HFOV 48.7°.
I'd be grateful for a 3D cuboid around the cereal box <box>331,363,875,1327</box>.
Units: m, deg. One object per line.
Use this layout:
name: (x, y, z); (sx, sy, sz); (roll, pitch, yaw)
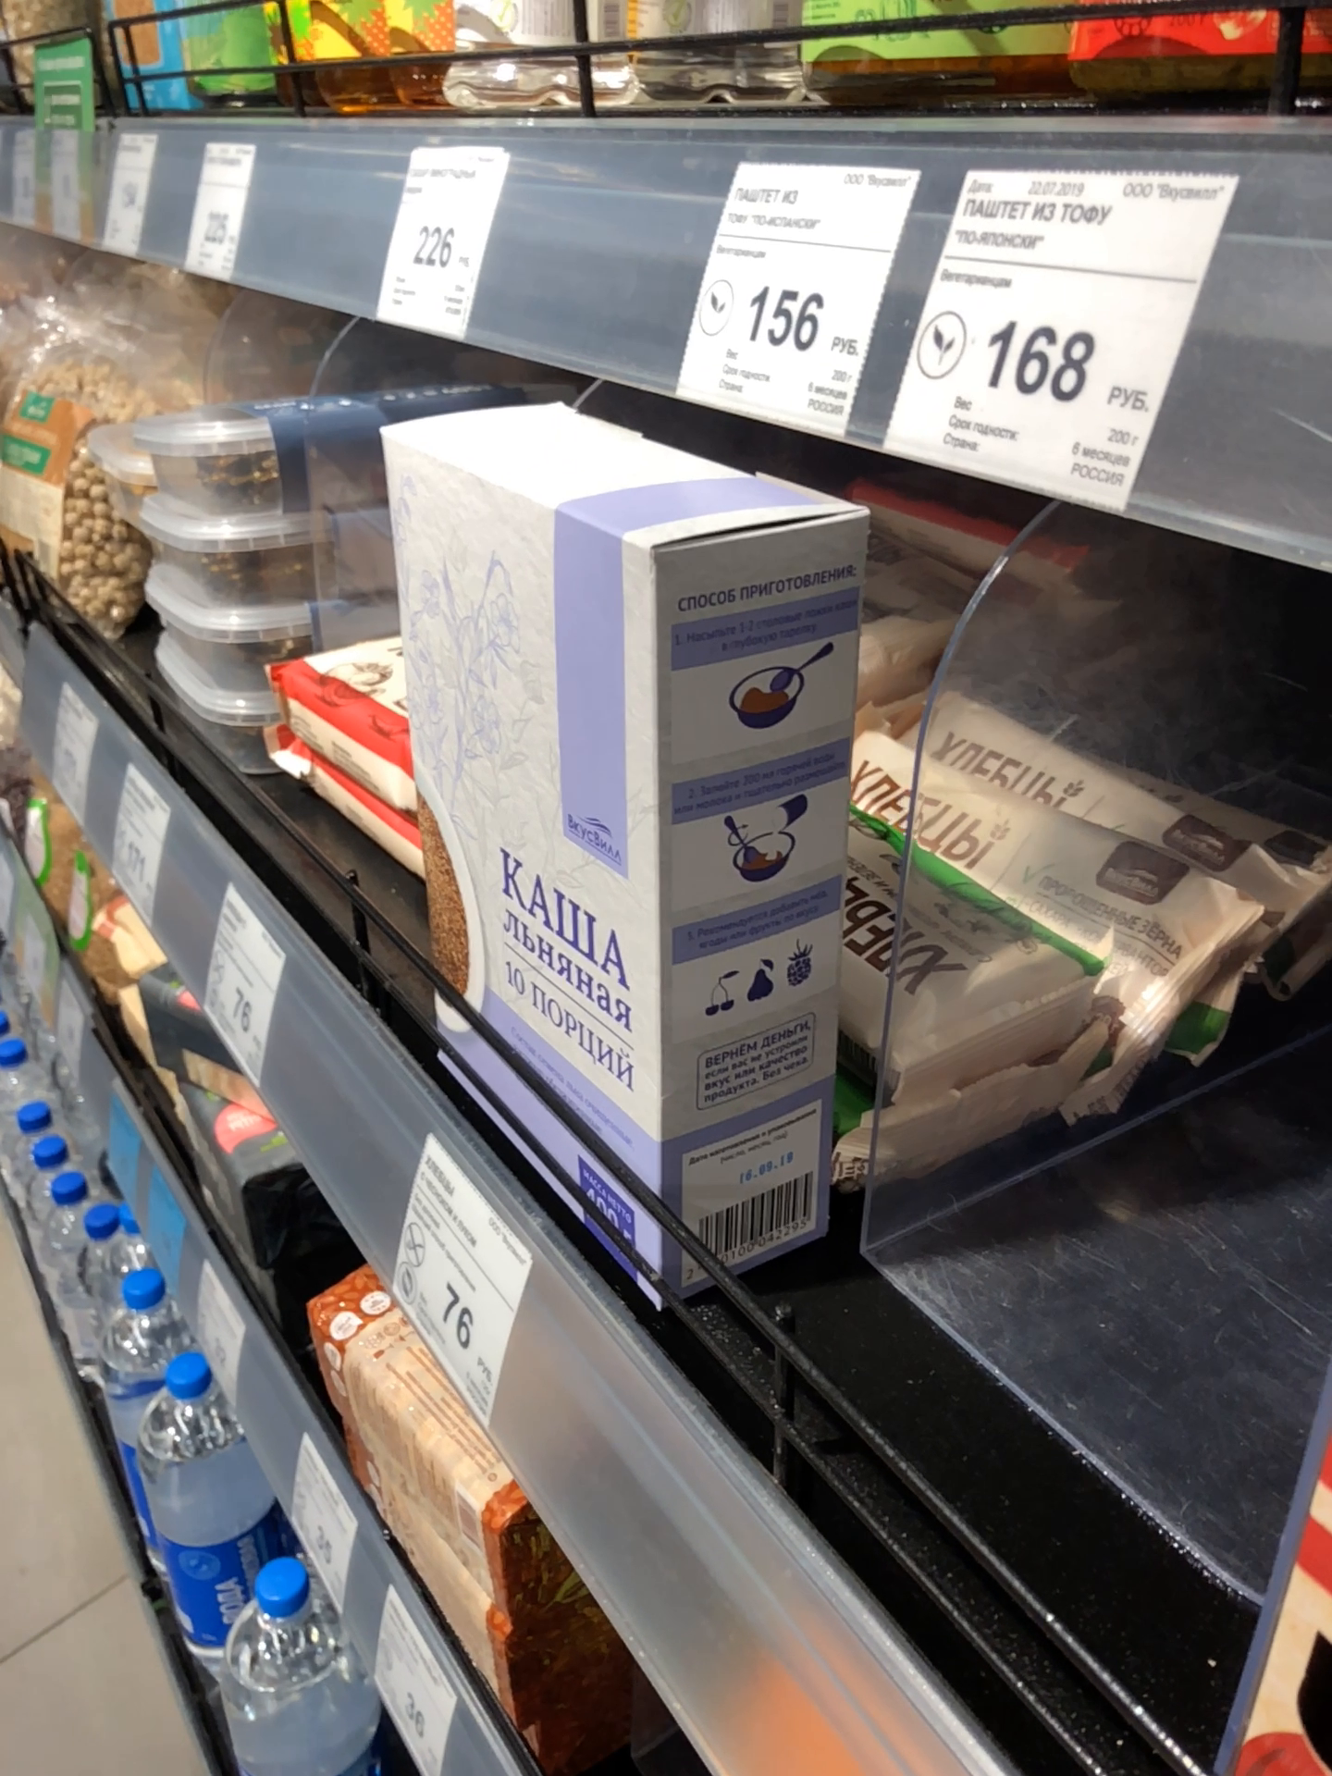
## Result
cereal box: (-0.021, -0.019, 0.364); (0.050, 0.189, 0.151); (-17, 31, -28)
